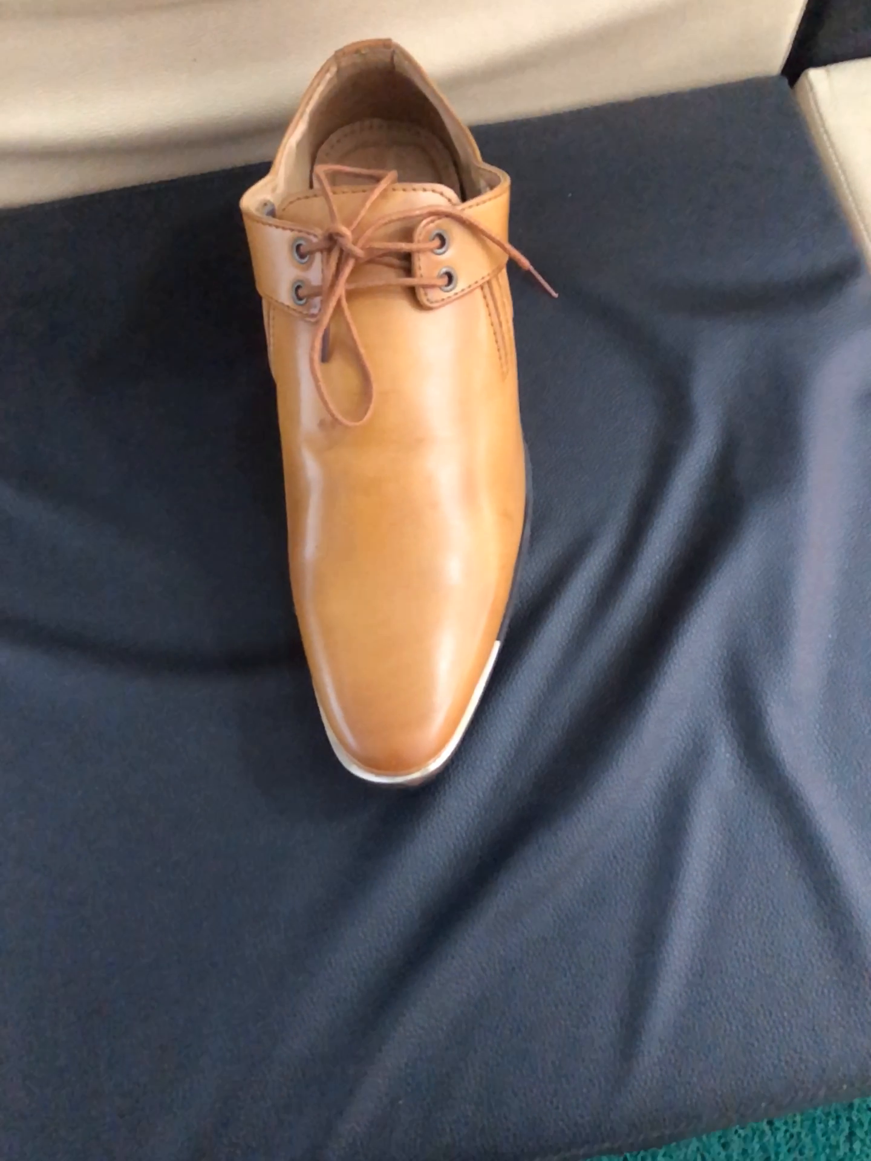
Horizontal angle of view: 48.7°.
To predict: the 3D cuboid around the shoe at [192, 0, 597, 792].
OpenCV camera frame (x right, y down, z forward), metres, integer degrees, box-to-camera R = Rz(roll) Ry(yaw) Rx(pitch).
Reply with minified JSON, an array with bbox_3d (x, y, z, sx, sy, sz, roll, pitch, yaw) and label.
[{"bbox_3d":[-0.015,-0.069,0.343,0.110,0.080,0.270,-2,71,1],"label":"shoe"}]
